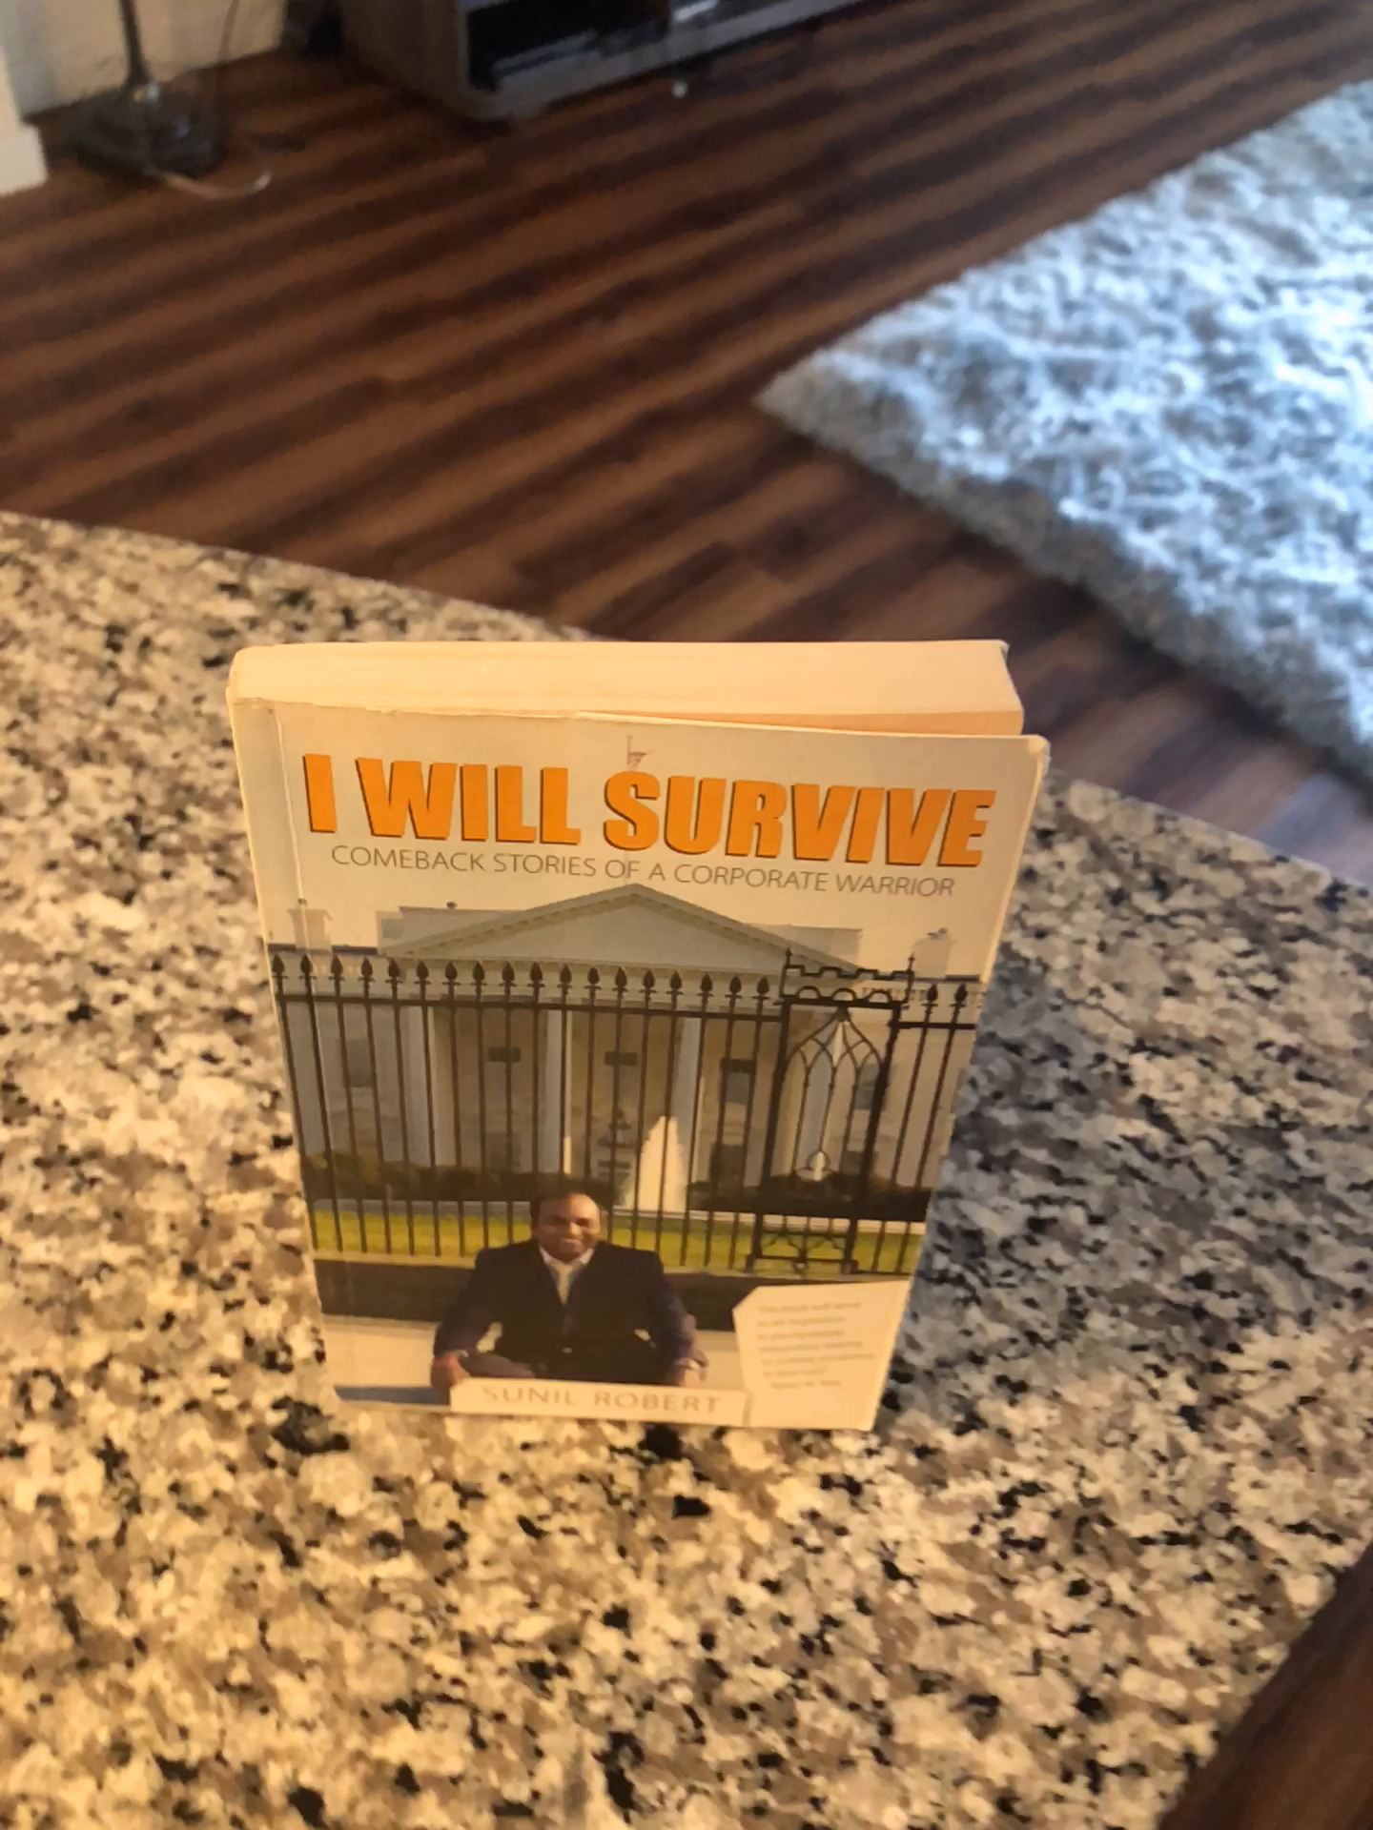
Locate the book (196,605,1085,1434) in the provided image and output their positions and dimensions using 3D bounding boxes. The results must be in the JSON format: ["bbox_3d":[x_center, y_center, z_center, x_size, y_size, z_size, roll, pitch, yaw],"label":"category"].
[{"bbox_3d":[-0.013,0.035,0.304,0.134,0.191,0.032,2,39,-4],"label":"book"}]
